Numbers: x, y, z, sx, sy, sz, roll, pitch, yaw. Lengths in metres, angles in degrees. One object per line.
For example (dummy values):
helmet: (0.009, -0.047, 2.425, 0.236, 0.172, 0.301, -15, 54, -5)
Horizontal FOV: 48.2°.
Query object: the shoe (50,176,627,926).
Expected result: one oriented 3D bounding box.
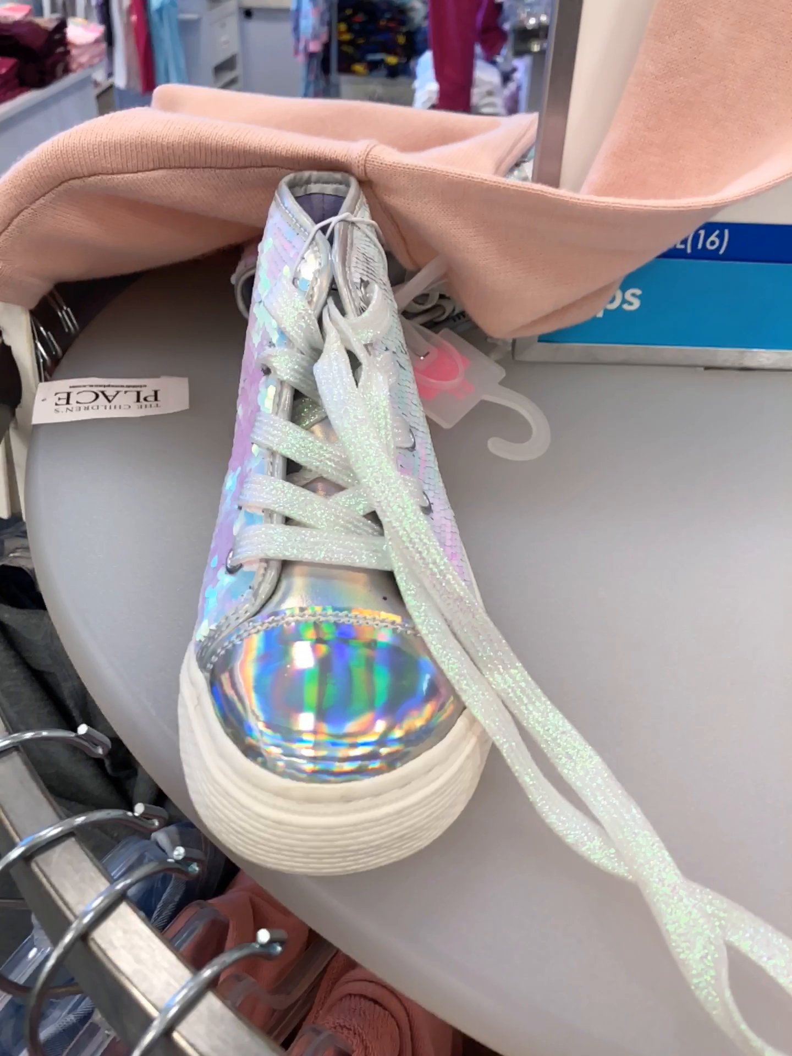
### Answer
shoe: (-0.015, -0.017, 0.255, 0.090, 0.105, 0.212, 0, 37, -3)
